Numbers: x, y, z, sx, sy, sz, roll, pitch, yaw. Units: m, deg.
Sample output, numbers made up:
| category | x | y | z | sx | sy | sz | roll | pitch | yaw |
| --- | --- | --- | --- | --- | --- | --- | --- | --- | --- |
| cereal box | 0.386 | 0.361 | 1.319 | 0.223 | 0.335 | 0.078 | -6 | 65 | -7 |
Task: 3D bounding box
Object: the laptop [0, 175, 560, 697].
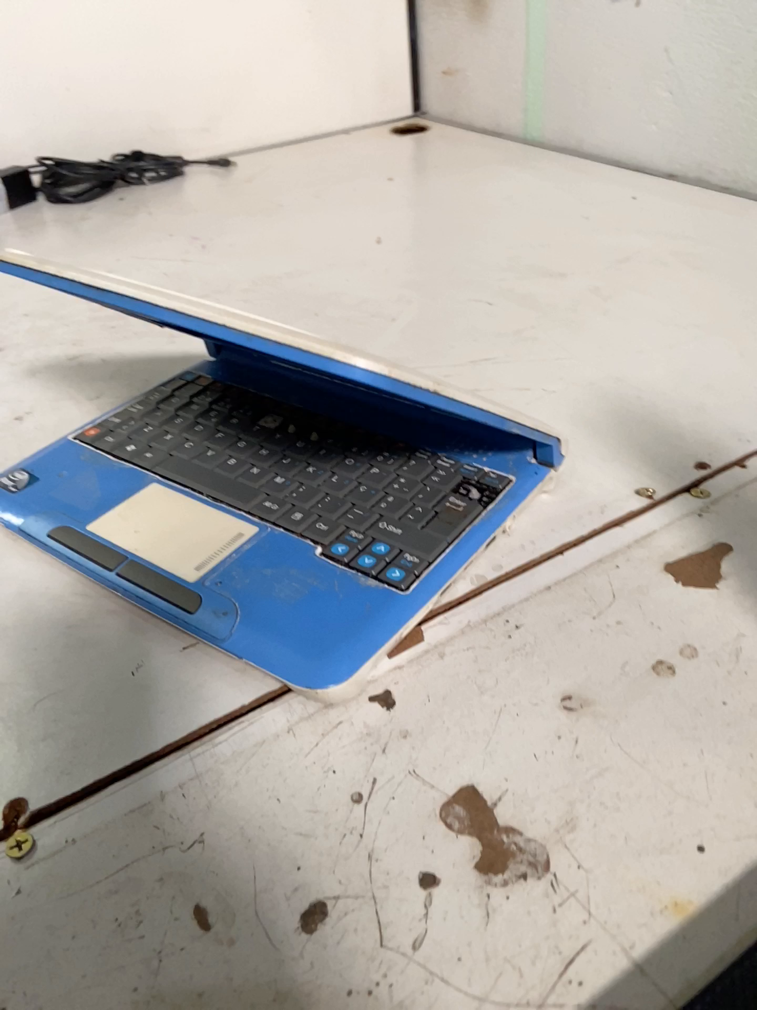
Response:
| category | x | y | z | sx | sy | sz | roll | pitch | yaw |
| --- | --- | --- | --- | --- | --- | --- | --- | --- | --- |
| laptop | -0.070 | -0.062 | 0.370 | 0.247 | 0.116 | 0.182 | 21 | 44 | 32 |
